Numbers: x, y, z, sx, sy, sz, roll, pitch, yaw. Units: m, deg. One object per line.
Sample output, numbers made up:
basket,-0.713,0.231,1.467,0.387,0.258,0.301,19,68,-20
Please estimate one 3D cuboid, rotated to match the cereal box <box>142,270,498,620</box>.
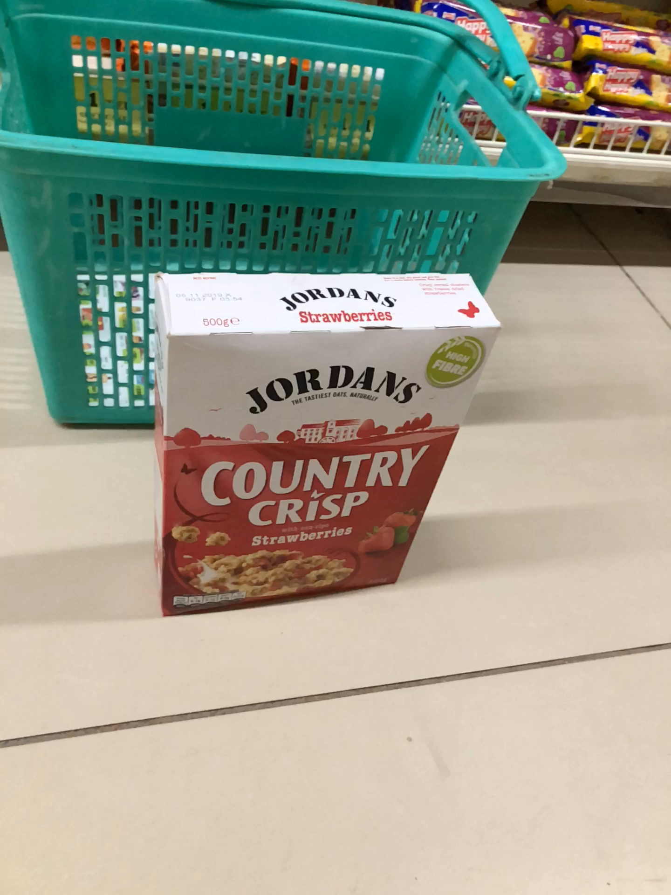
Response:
cereal box,-0.026,0.009,0.472,0.180,0.248,0.050,-5,47,-18
